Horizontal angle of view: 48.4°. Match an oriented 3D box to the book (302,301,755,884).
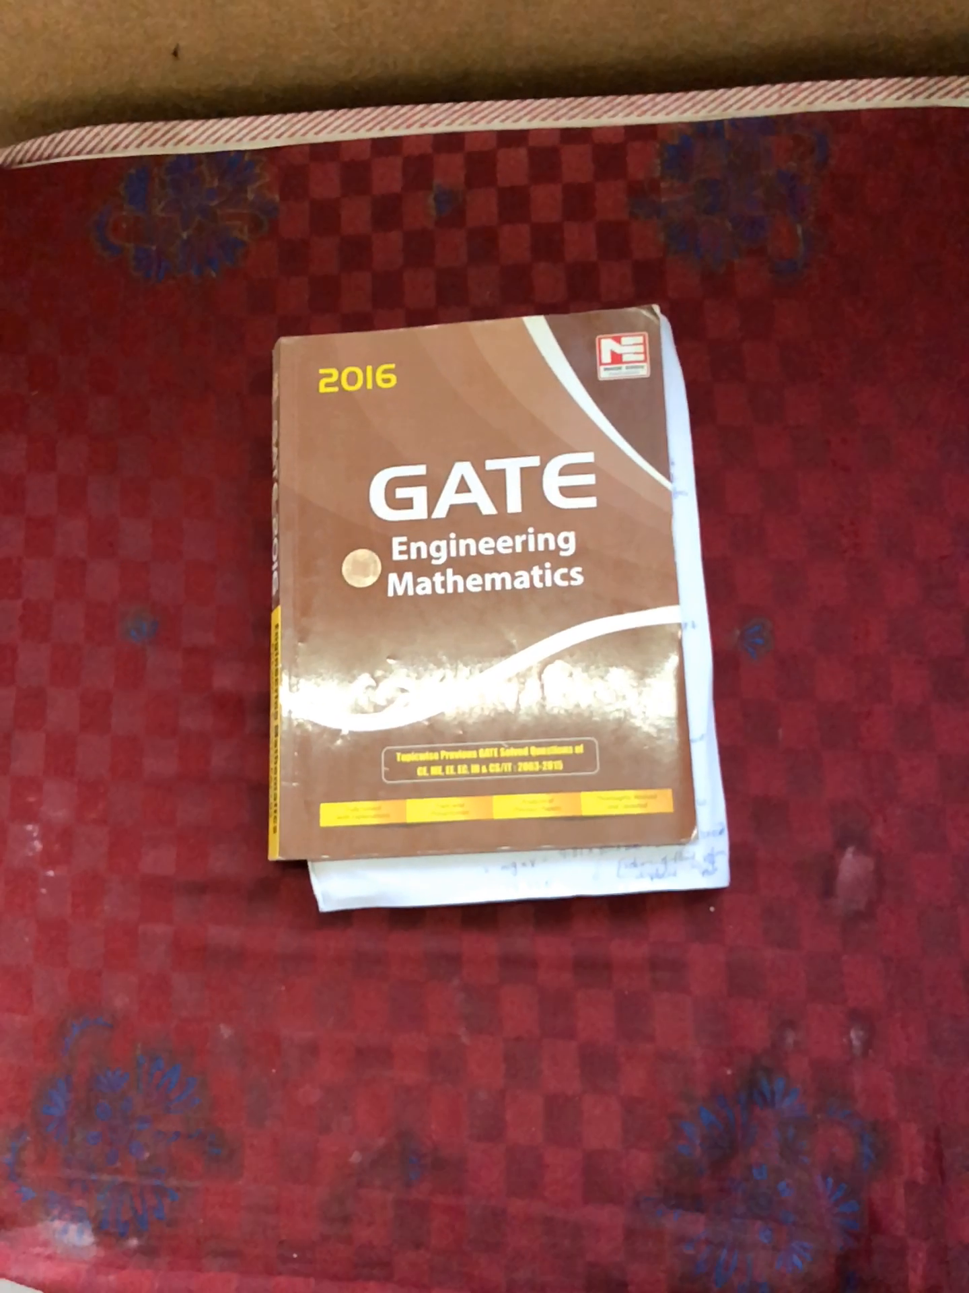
[{"bbox_3d":[0.017,-0.030,0.576,0.220,0.040,0.300,-3,77,5],"label":"book"}]
